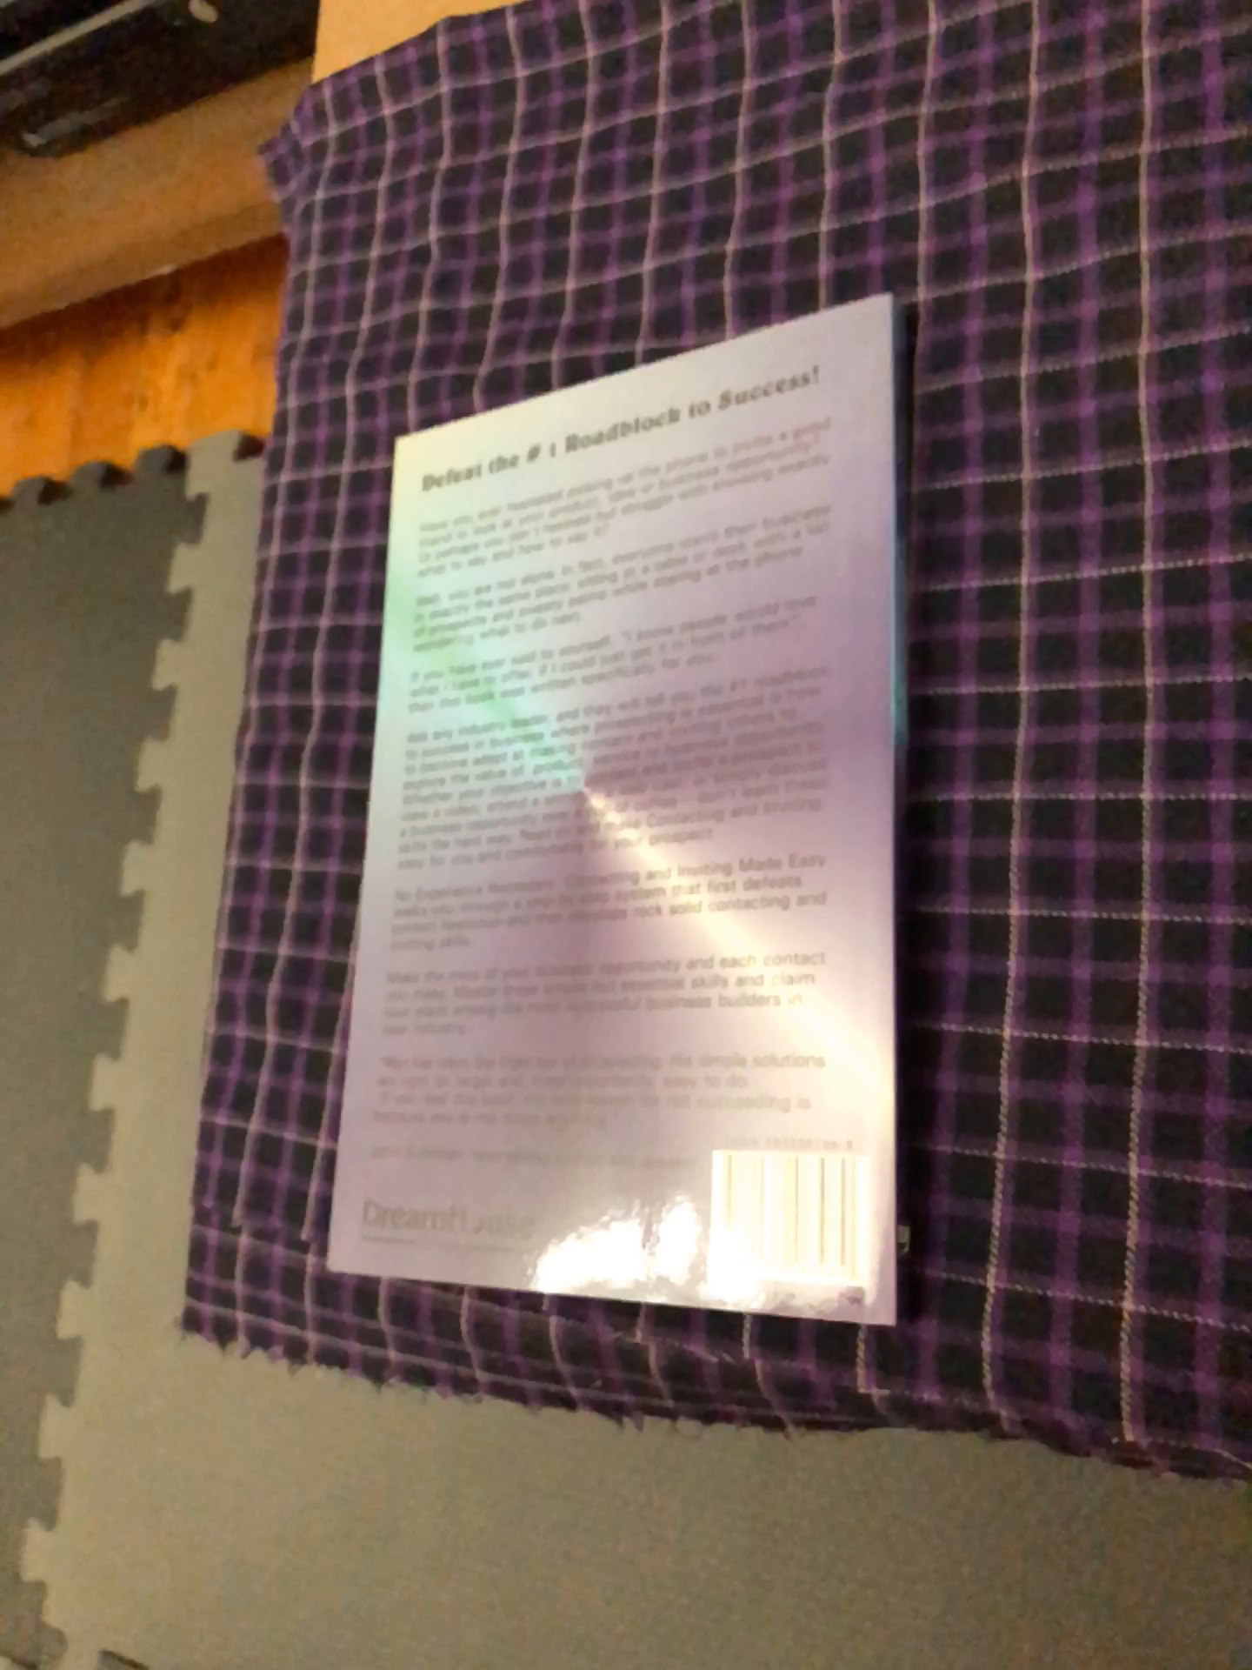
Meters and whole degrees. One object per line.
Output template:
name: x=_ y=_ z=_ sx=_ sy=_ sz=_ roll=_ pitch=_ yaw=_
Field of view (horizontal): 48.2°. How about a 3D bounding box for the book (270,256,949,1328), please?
book: x=-0.008 y=-0.009 z=0.327 sx=0.161 sy=0.020 sz=0.220 roll=-6 pitch=75 yaw=31
